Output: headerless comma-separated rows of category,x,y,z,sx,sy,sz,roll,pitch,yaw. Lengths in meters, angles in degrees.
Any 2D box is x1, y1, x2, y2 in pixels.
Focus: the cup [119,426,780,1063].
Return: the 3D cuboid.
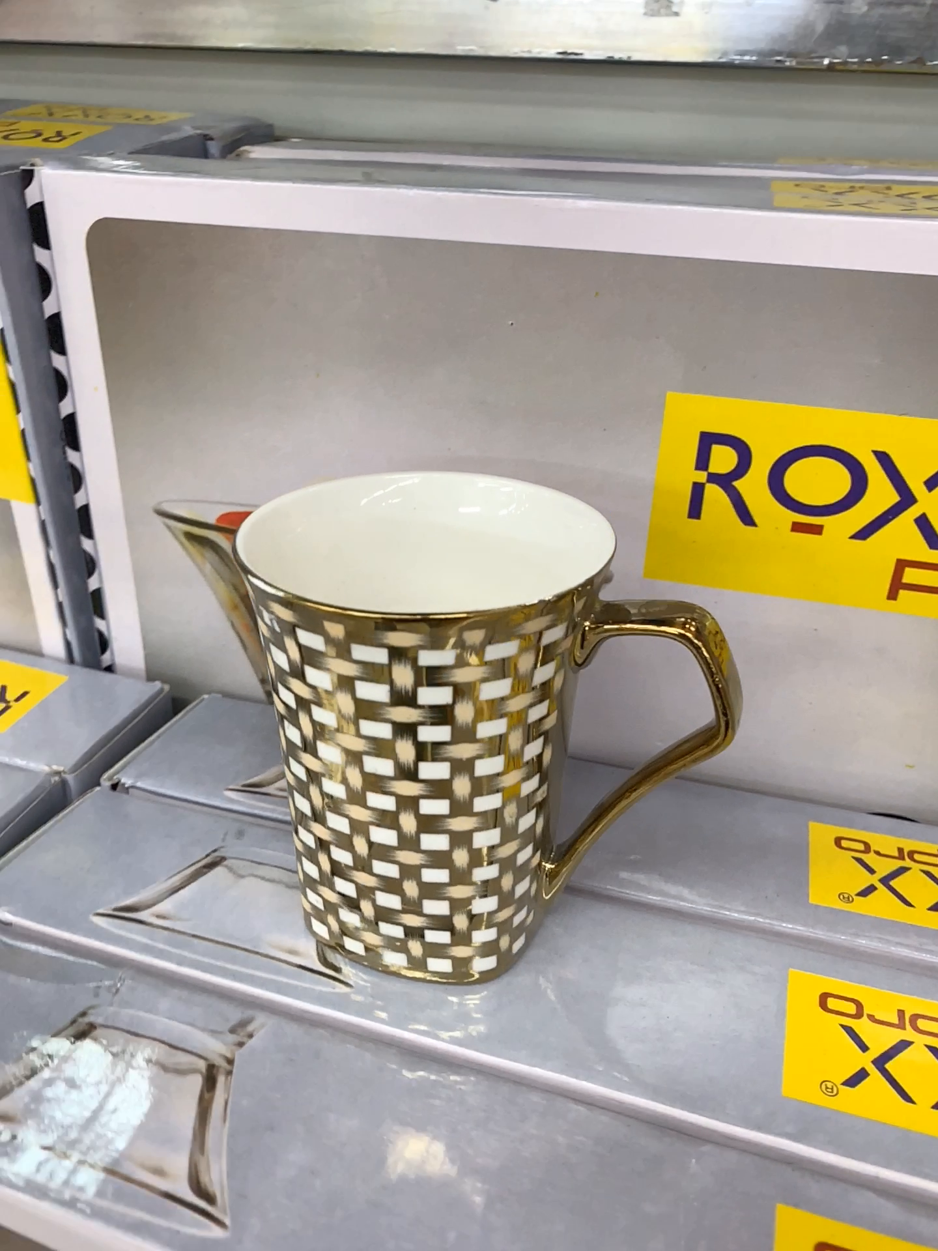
cup,0.002,0.018,0.212,0.110,0.089,0.081,9,29,12
